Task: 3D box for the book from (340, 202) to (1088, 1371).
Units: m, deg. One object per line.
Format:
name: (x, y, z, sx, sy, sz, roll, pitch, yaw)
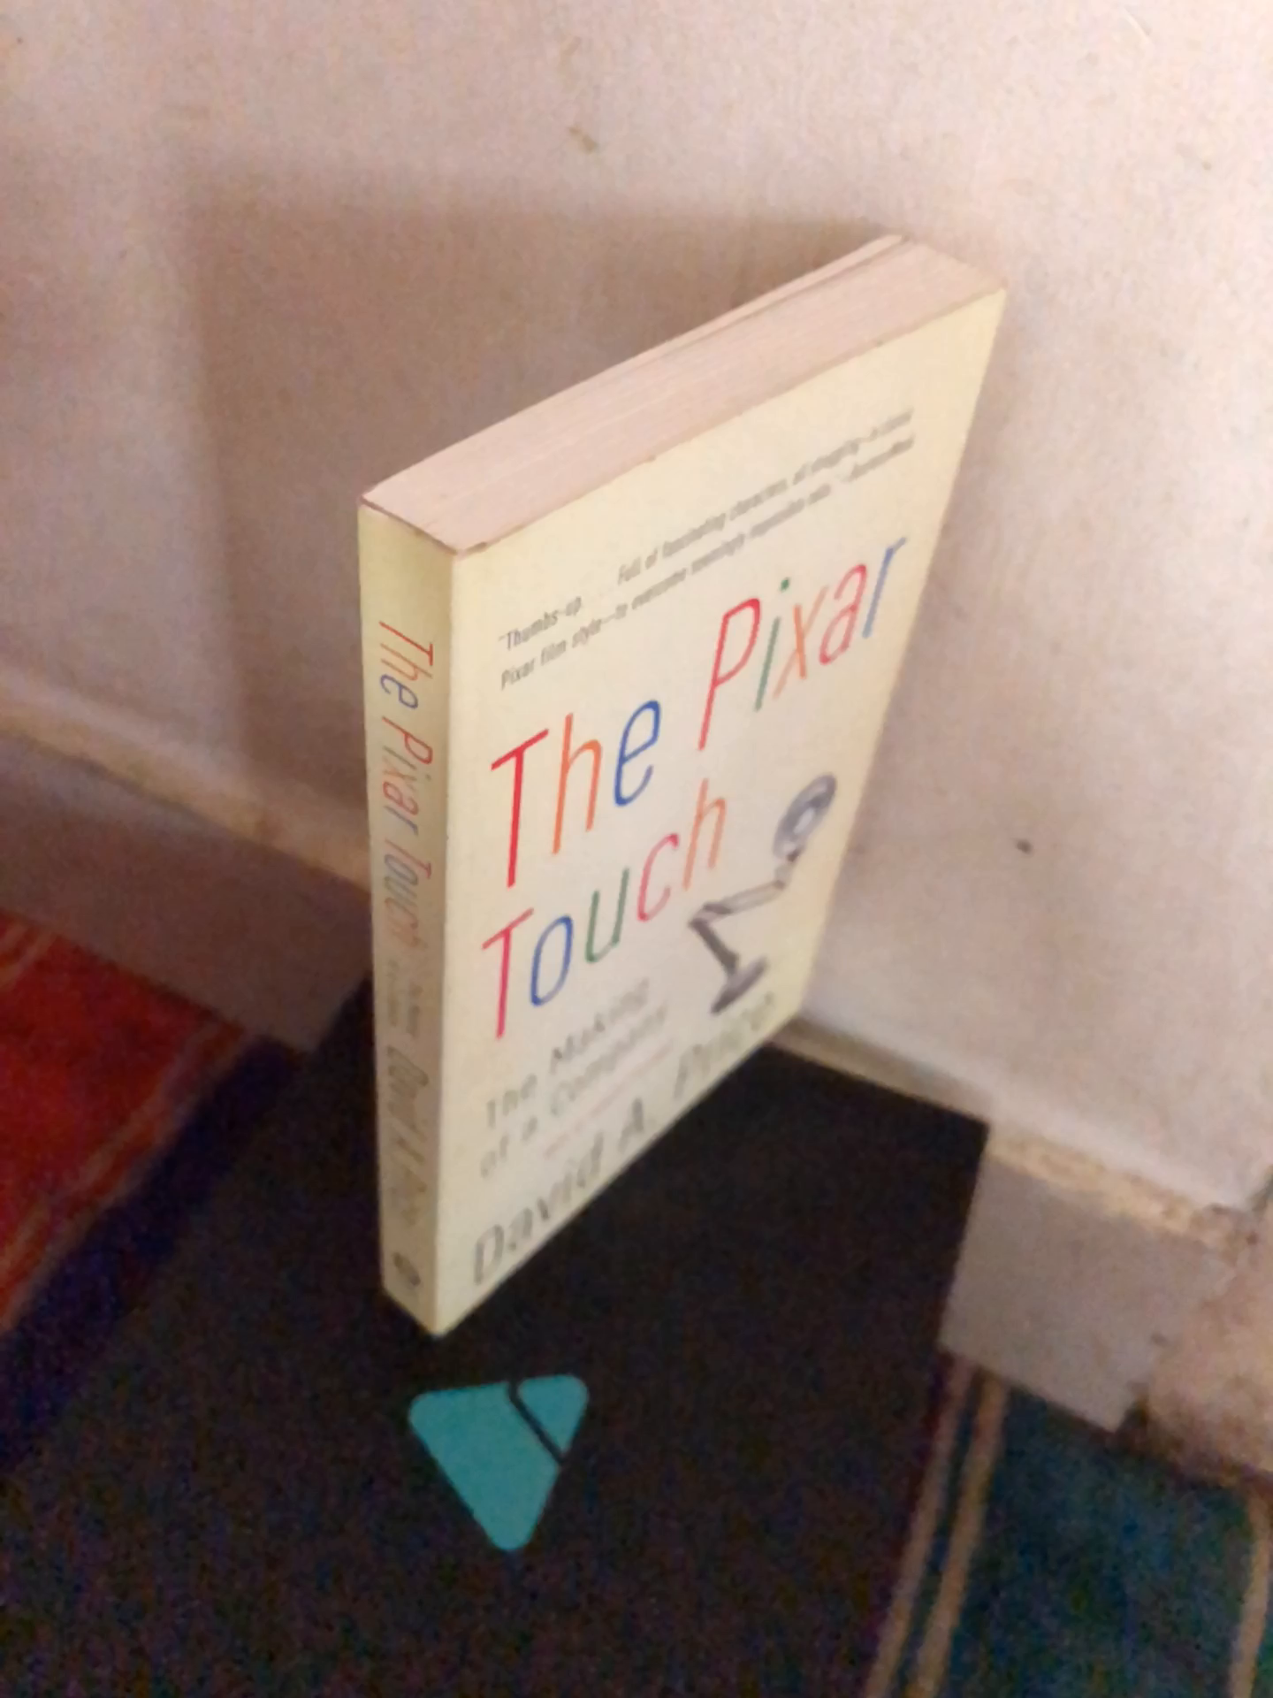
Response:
book: (0.009, -0.004, 0.279, 0.030, 0.199, 0.140, 34, 49, 24)
